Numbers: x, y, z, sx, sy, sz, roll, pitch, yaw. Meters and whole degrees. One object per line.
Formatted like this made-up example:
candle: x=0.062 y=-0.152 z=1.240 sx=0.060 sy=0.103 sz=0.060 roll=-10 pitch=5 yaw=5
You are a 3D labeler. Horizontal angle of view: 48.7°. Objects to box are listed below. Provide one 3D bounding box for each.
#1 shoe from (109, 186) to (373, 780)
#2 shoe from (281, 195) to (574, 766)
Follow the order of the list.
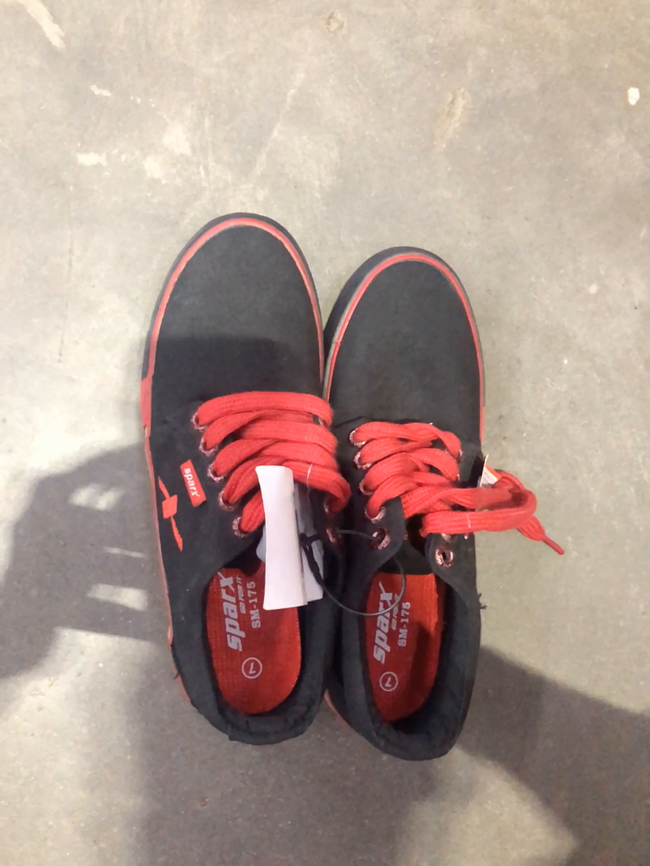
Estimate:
shoe: x=-0.047 y=0.022 z=0.369 sx=0.100 sy=0.100 sz=0.250 roll=2 pitch=89 yaw=-25
shoe: x=0.046 y=0.024 z=0.375 sx=0.100 sy=0.100 sz=0.250 roll=7 pitch=88 yaw=-10
